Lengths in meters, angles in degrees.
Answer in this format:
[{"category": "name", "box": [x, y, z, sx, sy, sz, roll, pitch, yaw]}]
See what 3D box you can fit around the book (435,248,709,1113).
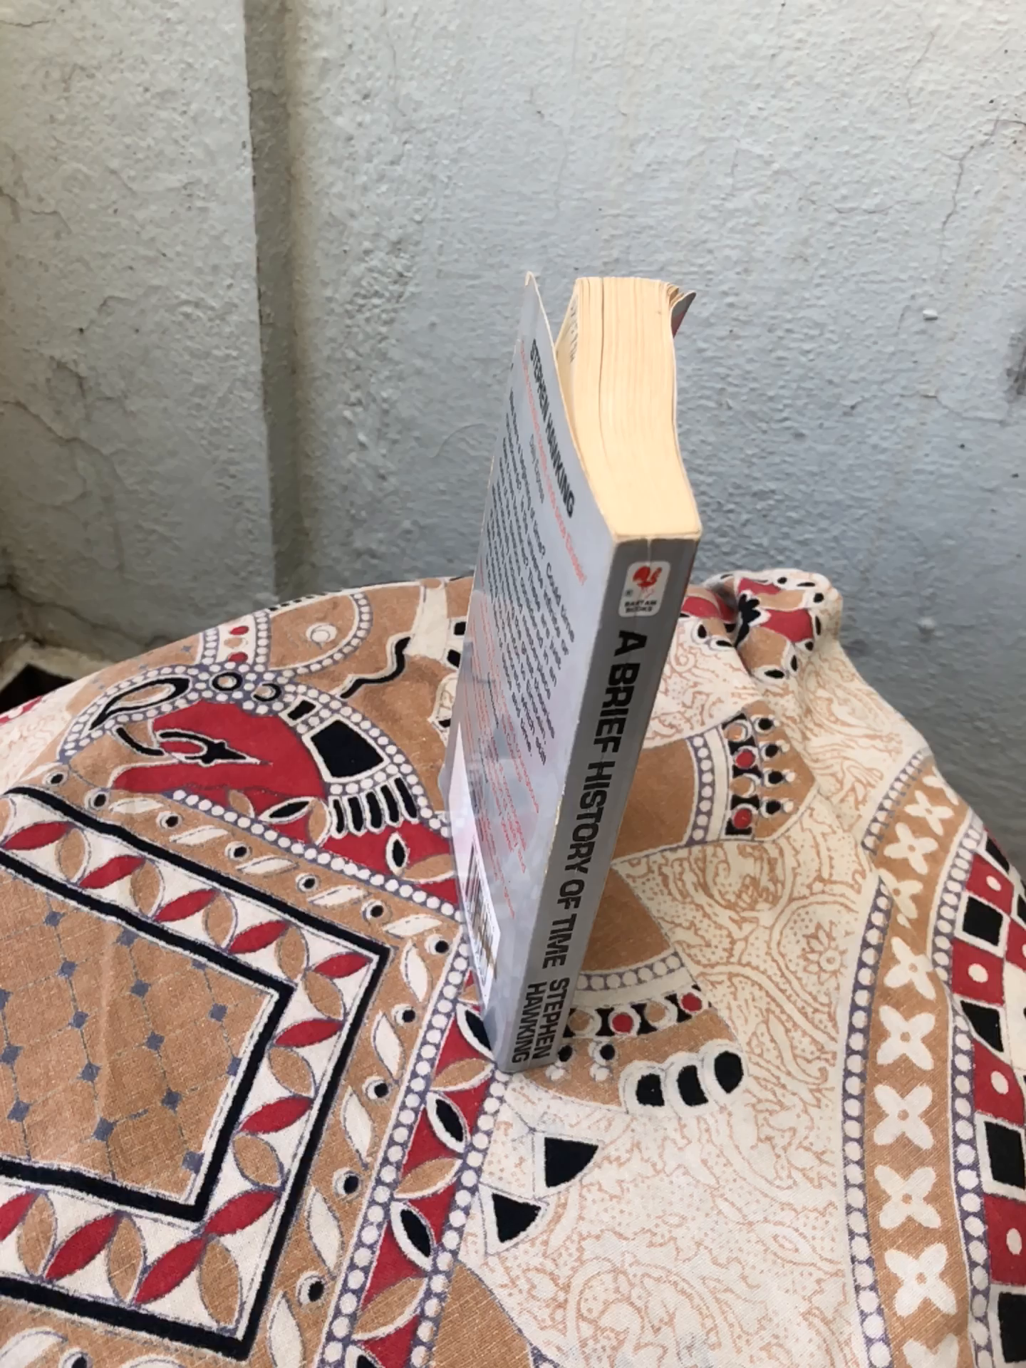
[{"category": "book", "box": [0.004, 0.003, 0.284, 0.030, 0.169, 0.131, 4, 42, -6]}]
